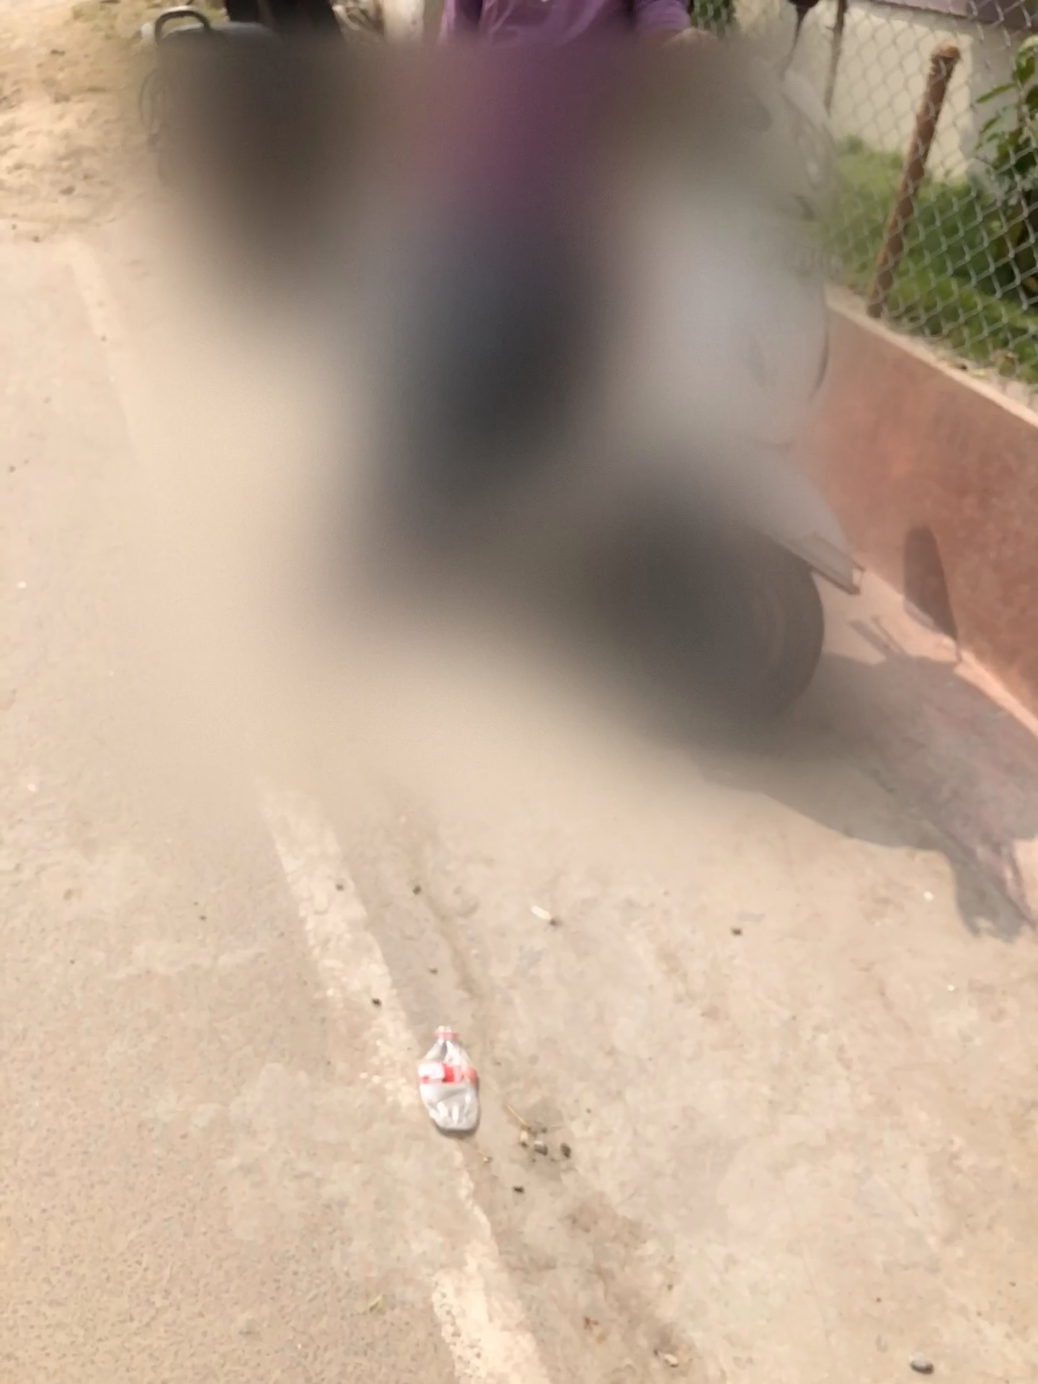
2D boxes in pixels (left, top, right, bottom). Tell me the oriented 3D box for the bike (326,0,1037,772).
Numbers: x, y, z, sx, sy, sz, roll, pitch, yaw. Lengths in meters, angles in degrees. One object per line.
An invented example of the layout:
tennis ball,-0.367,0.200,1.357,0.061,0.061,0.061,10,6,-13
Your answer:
bike,0.250,-0.772,2.521,0.620,1.113,1.554,-15,40,-33
